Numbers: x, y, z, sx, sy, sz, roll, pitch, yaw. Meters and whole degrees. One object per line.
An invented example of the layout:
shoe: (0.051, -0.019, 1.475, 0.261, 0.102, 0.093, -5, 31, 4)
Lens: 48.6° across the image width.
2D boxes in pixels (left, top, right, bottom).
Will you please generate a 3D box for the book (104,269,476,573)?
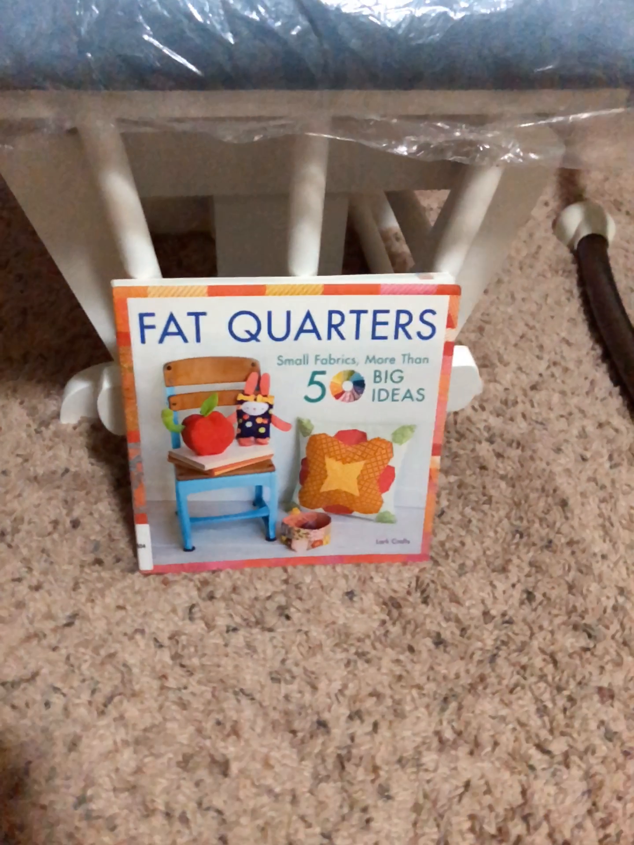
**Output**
book: (-0.015, 0.003, 0.445, 0.207, 0.193, 0.030, -2, 25, -5)
